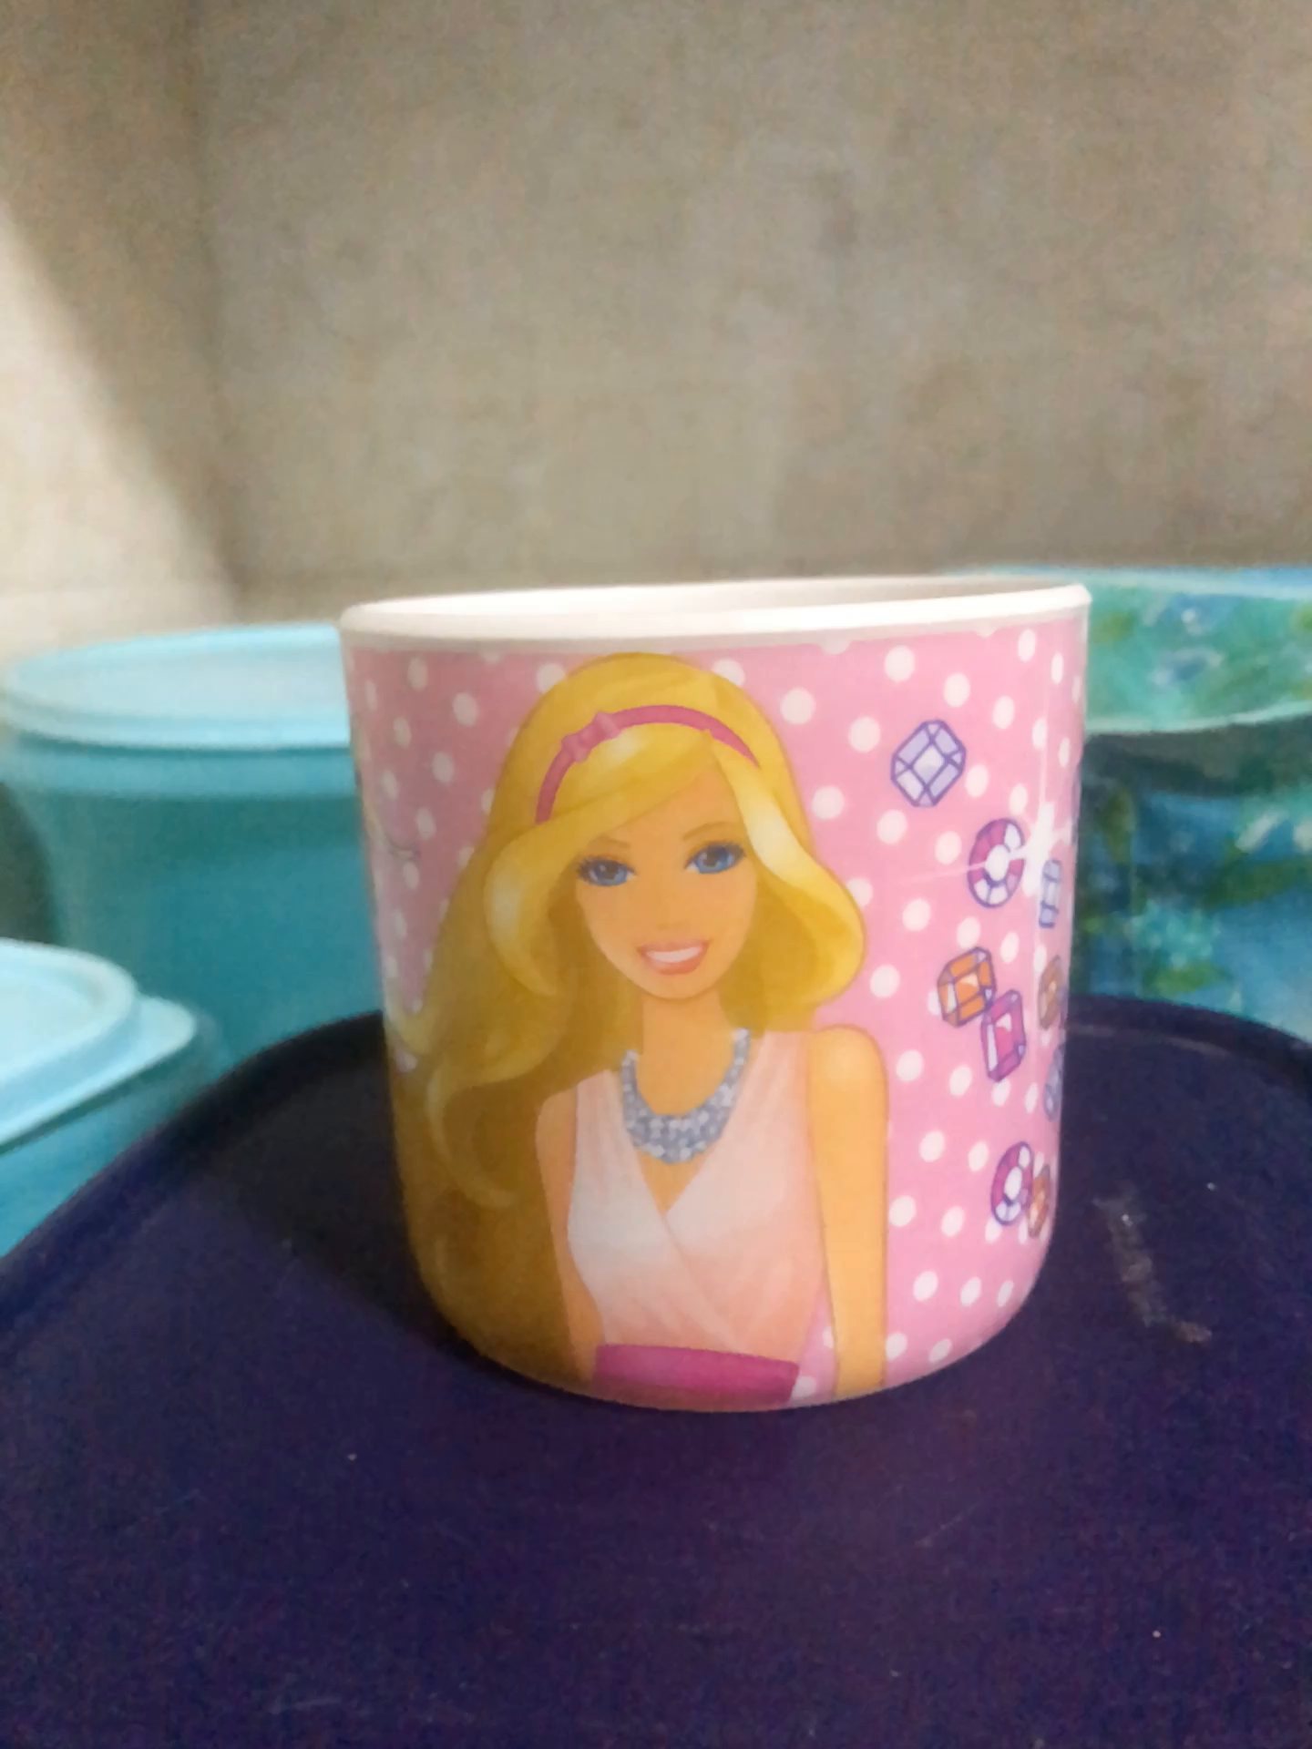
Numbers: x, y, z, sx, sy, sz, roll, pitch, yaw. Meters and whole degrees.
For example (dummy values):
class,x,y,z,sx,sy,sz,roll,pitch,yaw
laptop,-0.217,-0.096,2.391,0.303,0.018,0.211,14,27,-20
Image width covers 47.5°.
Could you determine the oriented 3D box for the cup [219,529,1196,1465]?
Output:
class,x,y,z,sx,sy,sz,roll,pitch,yaw
cup,0.013,-0.001,0.187,0.080,0.080,0.120,0,12,10
